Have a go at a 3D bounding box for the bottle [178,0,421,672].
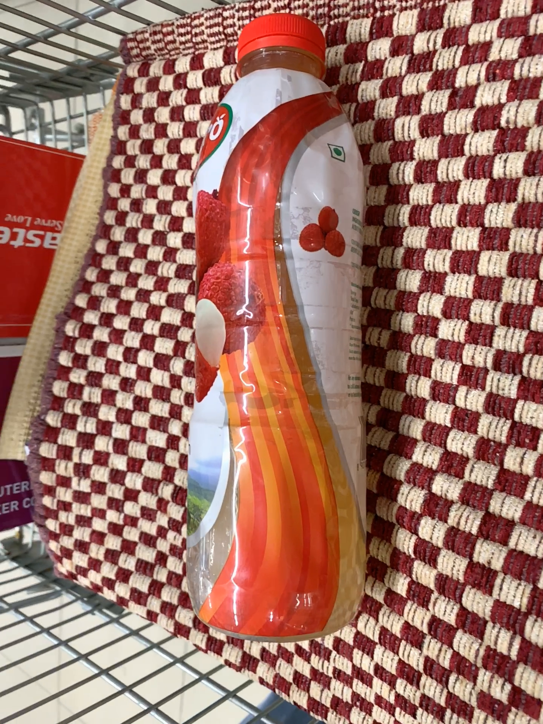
[{"bbox_3d":[0.008,-0.017,0.222,0.080,0.070,0.240,0,91,-3],"label":"bottle"}]
